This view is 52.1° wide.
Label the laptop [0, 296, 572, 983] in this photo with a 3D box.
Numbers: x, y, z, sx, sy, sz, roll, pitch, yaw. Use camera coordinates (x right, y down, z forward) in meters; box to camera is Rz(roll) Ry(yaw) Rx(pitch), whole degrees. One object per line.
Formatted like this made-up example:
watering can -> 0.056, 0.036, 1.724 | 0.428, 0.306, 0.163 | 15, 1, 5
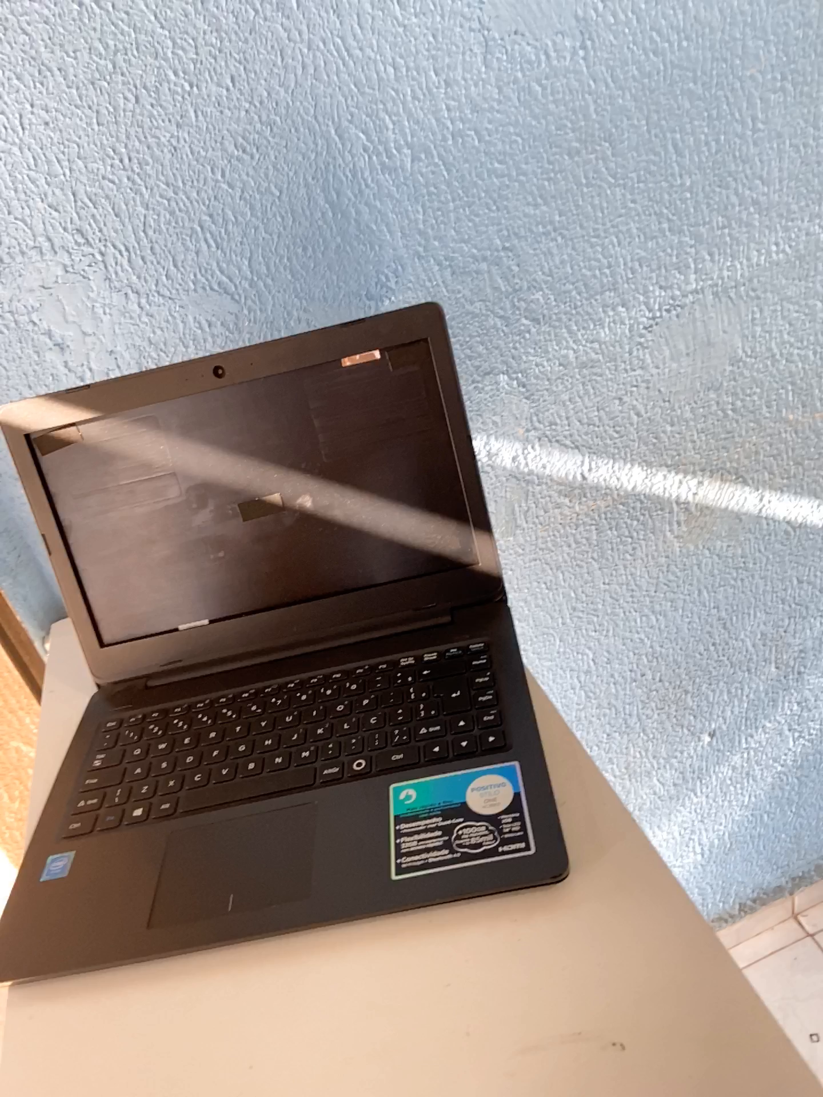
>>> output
laptop -> -0.110, 0.032, 0.535 | 0.337, 0.214, 0.311 | -13, 32, 5
